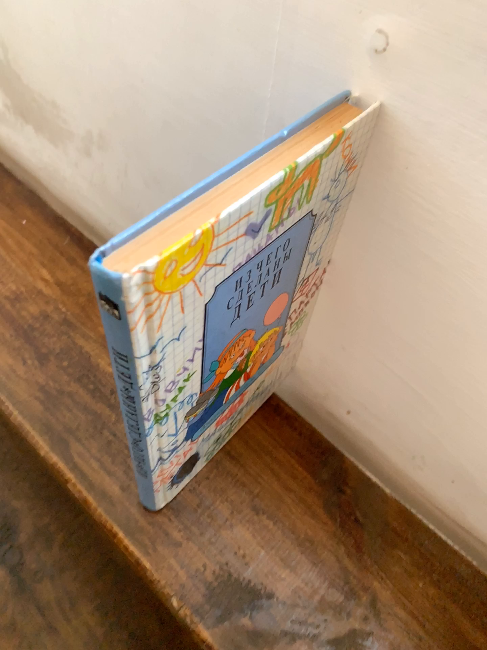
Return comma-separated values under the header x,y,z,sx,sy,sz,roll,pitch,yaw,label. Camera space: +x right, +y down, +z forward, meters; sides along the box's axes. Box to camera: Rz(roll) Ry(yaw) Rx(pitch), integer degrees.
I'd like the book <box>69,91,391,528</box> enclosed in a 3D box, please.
x,y,z,sx,sy,sz,roll,pitch,yaw,label
-0.003,0.010,0.238,0.020,0.194,0.131,37,58,20,book
